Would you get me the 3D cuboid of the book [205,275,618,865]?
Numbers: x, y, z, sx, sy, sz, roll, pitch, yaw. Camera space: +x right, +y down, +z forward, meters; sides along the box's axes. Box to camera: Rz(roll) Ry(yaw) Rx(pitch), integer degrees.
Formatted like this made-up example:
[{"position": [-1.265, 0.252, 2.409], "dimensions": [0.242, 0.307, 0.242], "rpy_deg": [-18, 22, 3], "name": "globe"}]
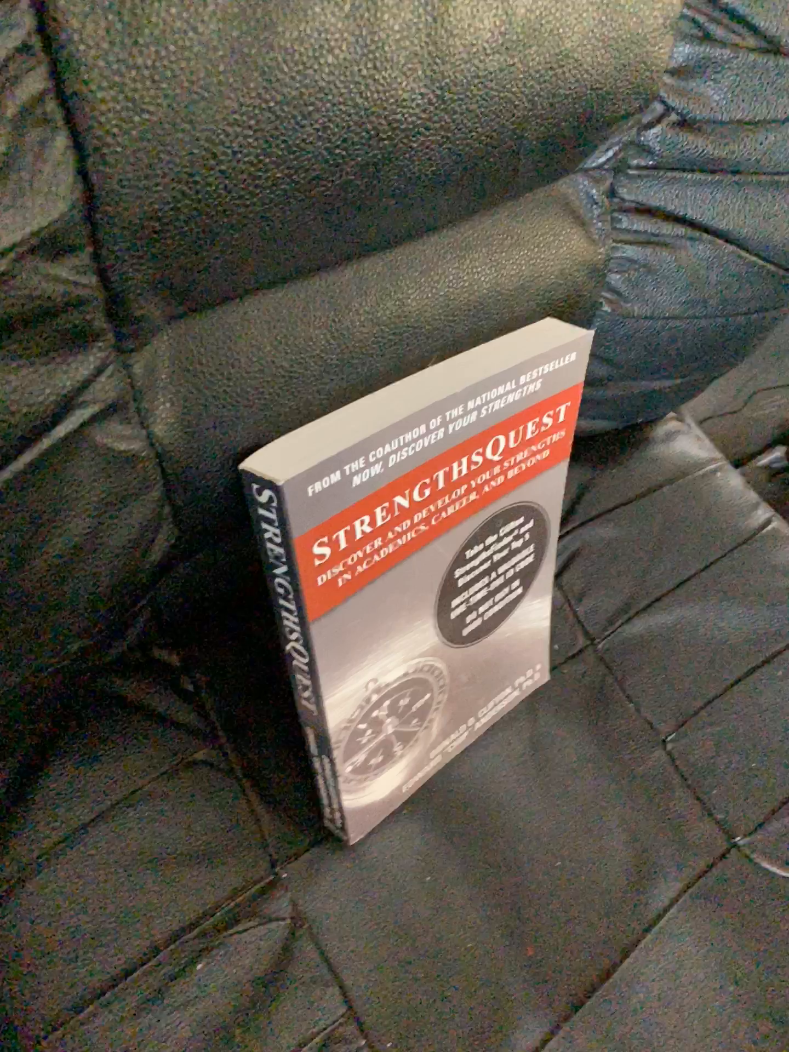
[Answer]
[{"position": [0.021, 0.032, 0.369], "dimensions": [0.170, 0.240, 0.030], "rpy_deg": [-32, 49, -27], "name": "book"}]
